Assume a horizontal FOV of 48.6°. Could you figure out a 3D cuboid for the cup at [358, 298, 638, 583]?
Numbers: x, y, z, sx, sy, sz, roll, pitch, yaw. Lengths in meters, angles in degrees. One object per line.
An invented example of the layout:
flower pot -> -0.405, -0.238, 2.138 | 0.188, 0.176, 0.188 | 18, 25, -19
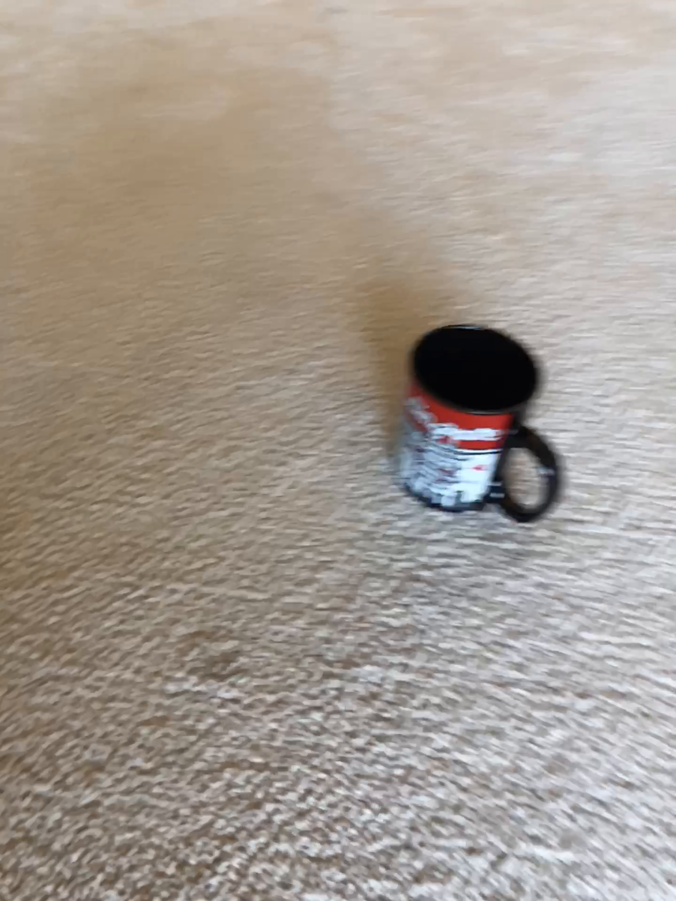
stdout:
cup -> 0.089, -0.010, 0.460 | 0.090, 0.090, 0.130 | -23, 52, -24
